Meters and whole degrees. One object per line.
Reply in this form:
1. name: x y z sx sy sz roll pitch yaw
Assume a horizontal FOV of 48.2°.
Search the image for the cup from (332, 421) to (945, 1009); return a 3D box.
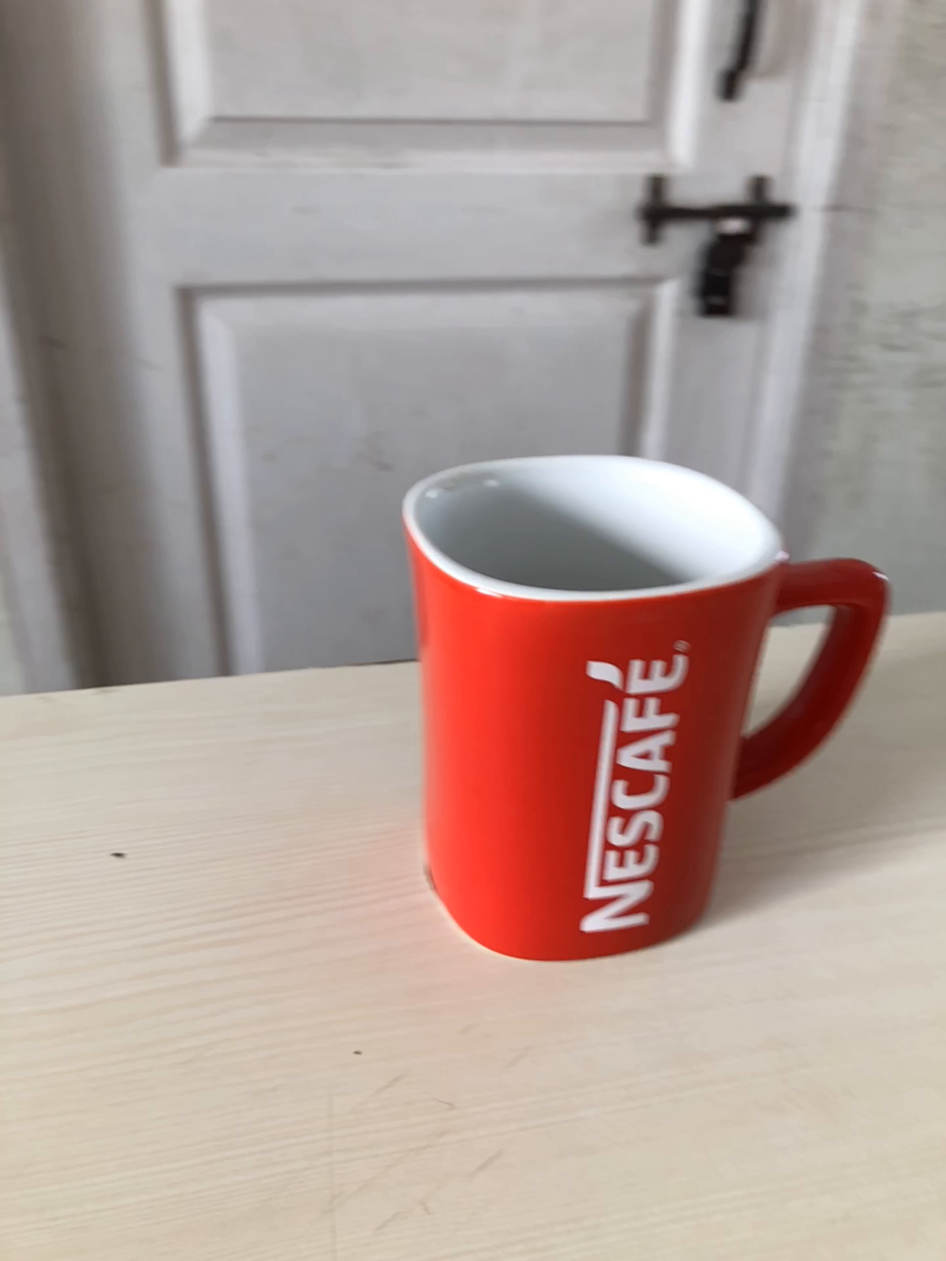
1. cup: 0.031 0.012 0.239 0.110 0.089 0.080 -7 29 -14
